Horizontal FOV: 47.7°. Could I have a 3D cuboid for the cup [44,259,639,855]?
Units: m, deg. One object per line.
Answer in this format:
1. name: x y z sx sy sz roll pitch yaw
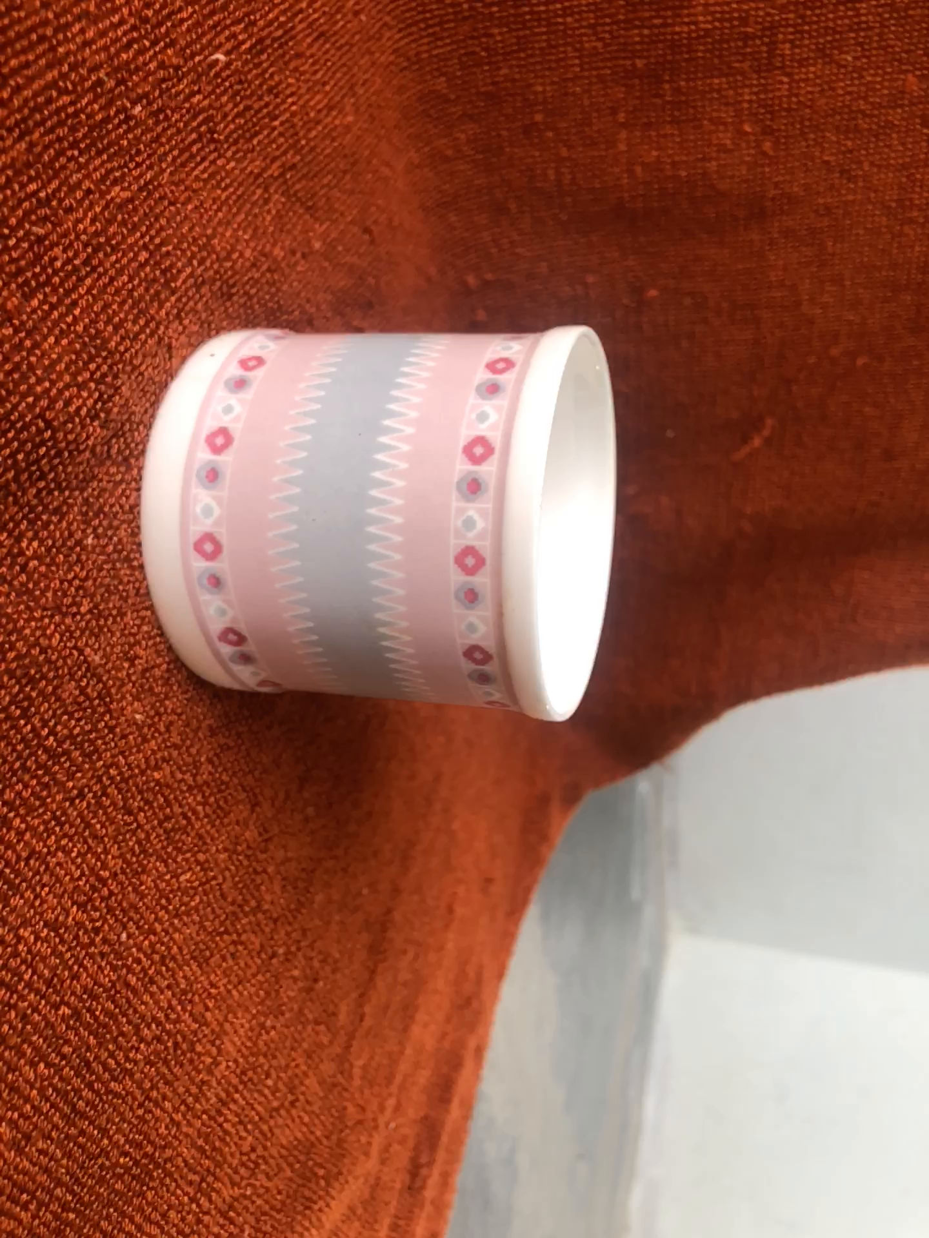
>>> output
1. cup: -0.010 -0.007 0.188 0.090 0.070 0.060 72 27 -55
